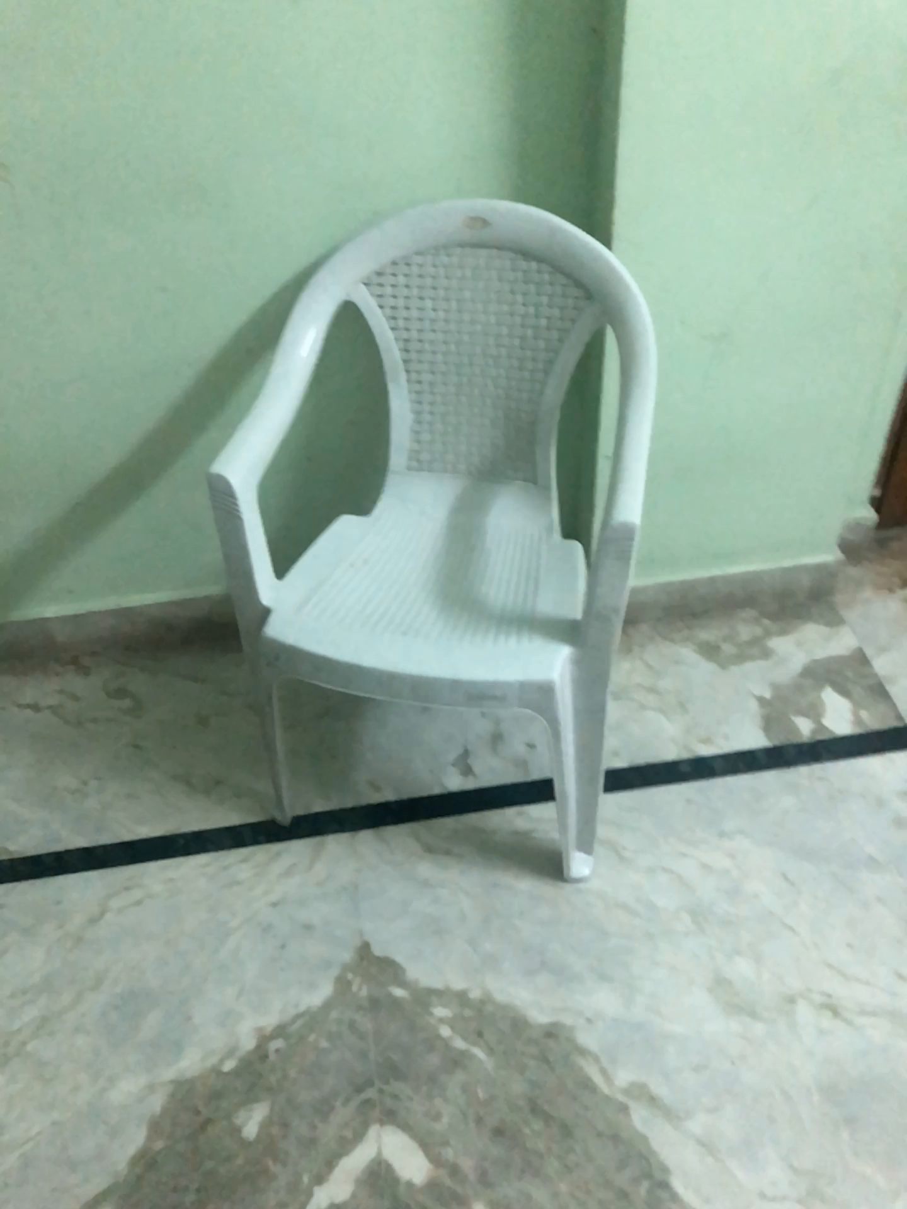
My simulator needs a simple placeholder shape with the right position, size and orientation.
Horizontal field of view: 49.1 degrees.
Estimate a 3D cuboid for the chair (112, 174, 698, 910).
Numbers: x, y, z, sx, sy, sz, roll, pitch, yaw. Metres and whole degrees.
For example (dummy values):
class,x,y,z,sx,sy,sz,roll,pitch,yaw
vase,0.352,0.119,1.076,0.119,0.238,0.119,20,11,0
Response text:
class,x,y,z,sx,sy,sz,roll,pitch,yaw
chair,-0.001,-0.079,1.411,0.530,0.825,0.533,9,44,14
